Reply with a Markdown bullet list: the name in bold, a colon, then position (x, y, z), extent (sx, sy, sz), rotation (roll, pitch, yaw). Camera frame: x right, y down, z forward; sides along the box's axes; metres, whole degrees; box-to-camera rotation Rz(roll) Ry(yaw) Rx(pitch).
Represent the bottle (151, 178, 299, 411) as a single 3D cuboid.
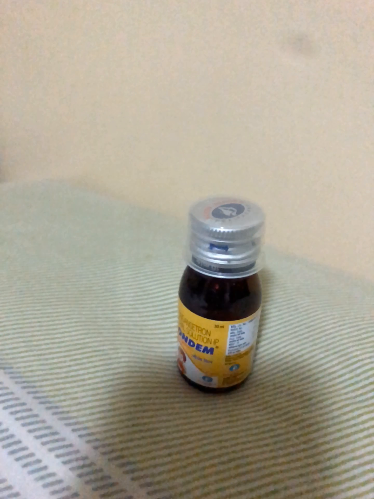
- **bottle**: position (0.013, 0.017, 0.169), extent (0.038, 0.076, 0.037), rotation (0, 29, 0)
